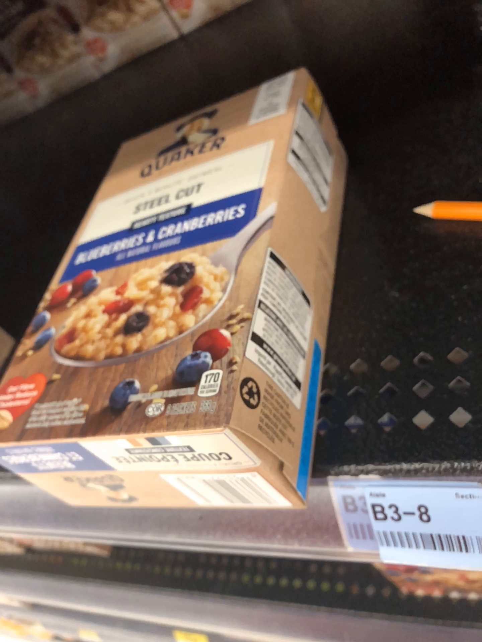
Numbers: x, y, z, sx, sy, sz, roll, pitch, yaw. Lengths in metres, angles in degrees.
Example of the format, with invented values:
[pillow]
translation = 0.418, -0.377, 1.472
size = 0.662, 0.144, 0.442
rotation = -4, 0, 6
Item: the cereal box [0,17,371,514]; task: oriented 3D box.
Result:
[cereal box]
translation = -0.015, -0.037, 0.271
size = 0.130, 0.060, 0.240
rotation = -10, 48, 29
